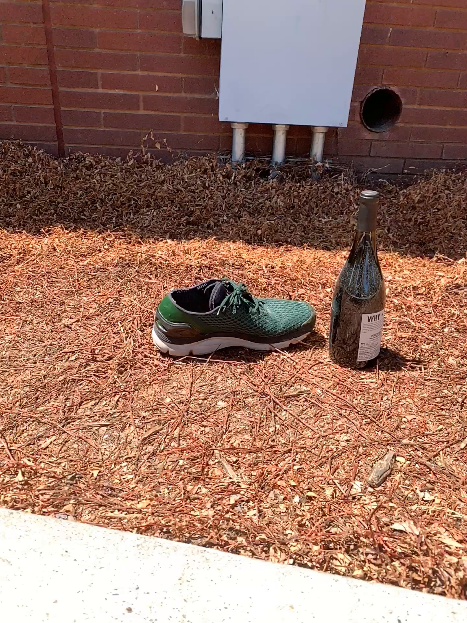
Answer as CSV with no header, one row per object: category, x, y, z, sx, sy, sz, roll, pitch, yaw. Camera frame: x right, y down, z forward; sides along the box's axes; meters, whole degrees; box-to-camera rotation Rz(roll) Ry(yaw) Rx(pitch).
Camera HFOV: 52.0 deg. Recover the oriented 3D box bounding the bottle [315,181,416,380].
bottle,0.201,-0.049,0.750,0.090,0.278,0.100,18,31,35
